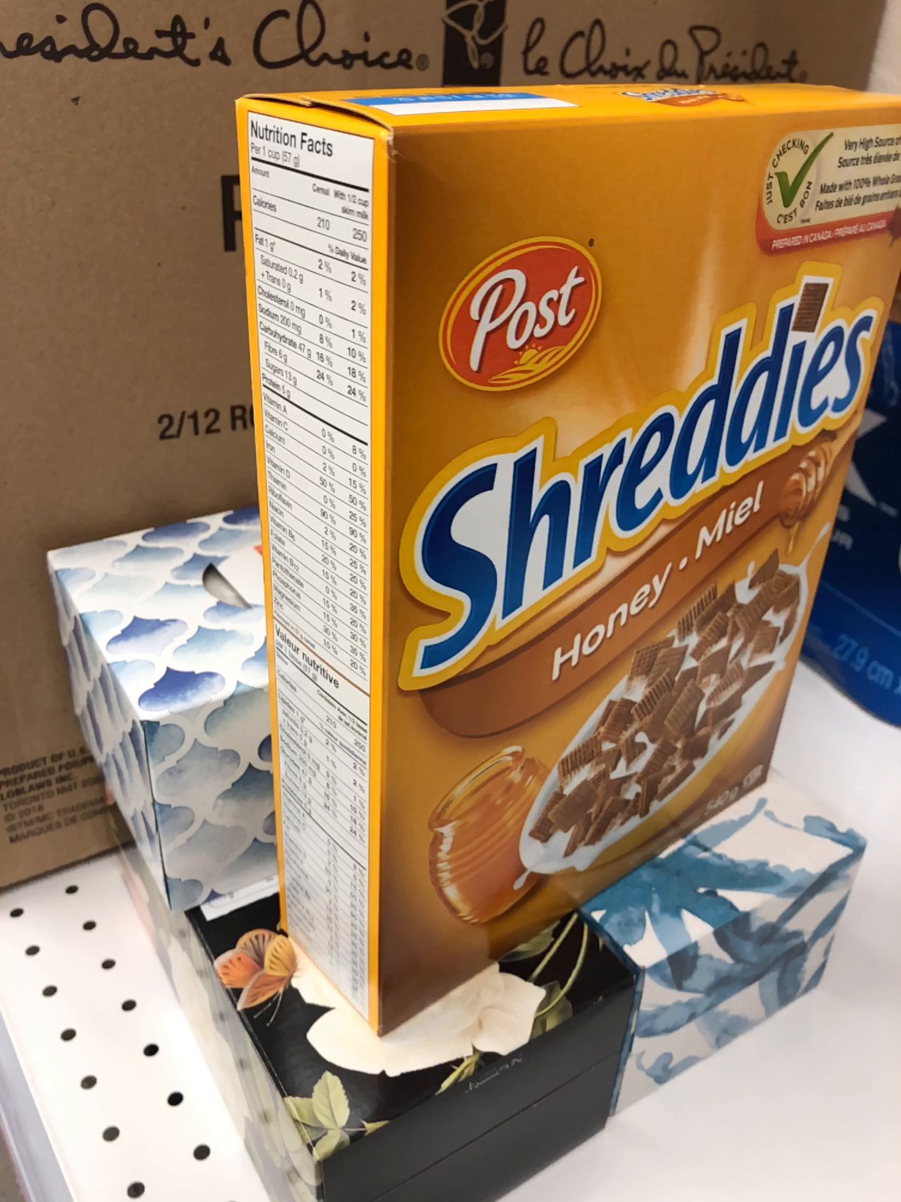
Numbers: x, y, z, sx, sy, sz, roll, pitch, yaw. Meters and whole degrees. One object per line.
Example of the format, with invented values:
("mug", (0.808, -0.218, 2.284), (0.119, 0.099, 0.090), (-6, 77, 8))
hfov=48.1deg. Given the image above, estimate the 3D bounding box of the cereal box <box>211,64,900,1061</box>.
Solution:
("cereal box", (0.048, -0.020, 0.318), (0.220, 0.259, 0.060), (-22, 38, -35))
